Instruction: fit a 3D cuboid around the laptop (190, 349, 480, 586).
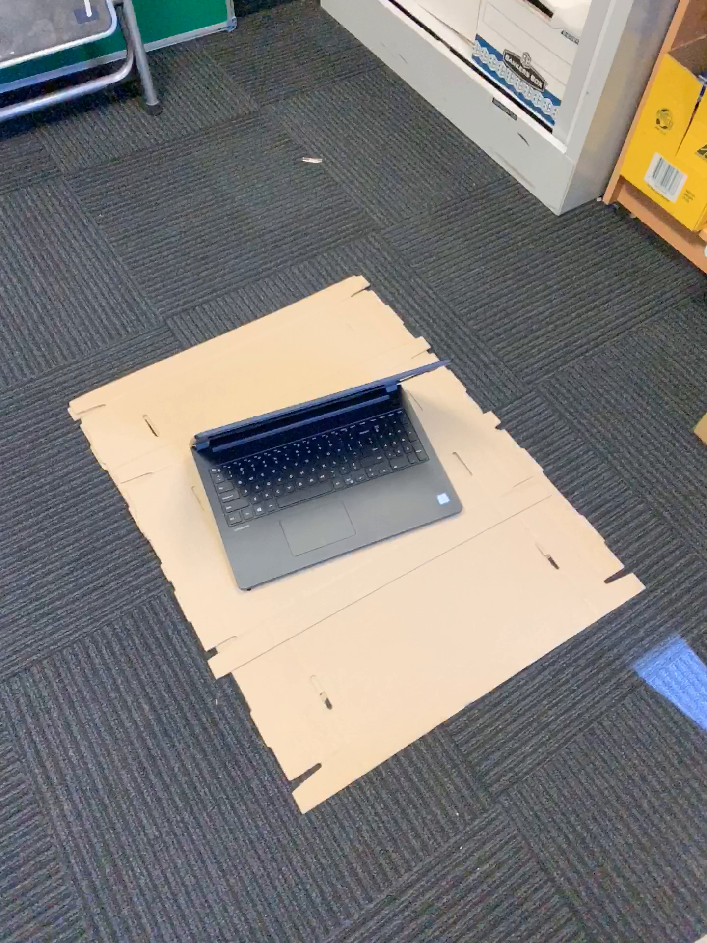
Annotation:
[{"bbox_3d":[-0.028,-0.014,1.015,0.341,0.085,0.221,-18,64,-14],"label":"laptop"}]
